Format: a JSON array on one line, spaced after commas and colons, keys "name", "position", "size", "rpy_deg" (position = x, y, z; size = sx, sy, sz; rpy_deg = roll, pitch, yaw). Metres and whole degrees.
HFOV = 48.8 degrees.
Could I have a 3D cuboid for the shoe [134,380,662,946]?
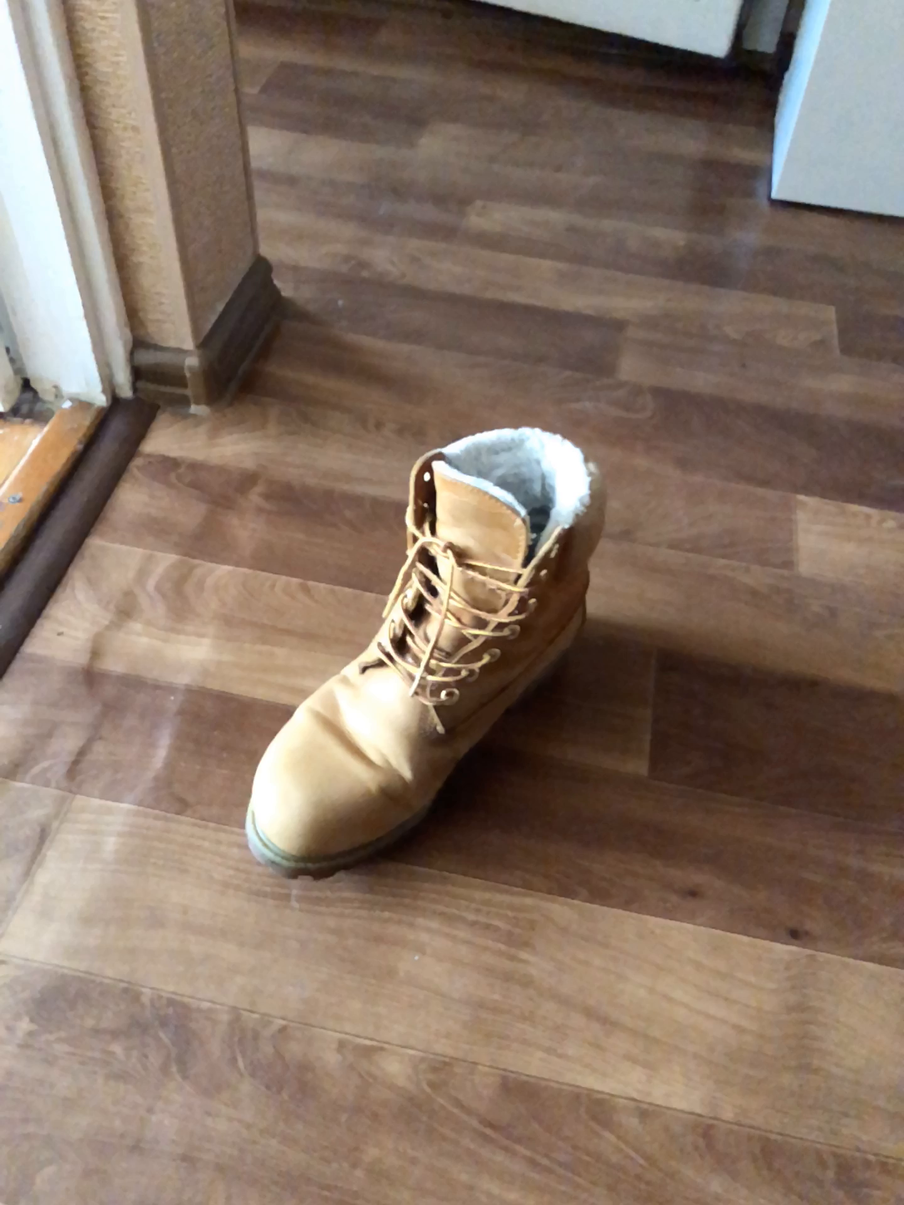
[{"name": "shoe", "position": [-0.020, 0.027, 0.606], "size": [0.120, 0.179, 0.291], "rpy_deg": [34, 55, 23]}]
